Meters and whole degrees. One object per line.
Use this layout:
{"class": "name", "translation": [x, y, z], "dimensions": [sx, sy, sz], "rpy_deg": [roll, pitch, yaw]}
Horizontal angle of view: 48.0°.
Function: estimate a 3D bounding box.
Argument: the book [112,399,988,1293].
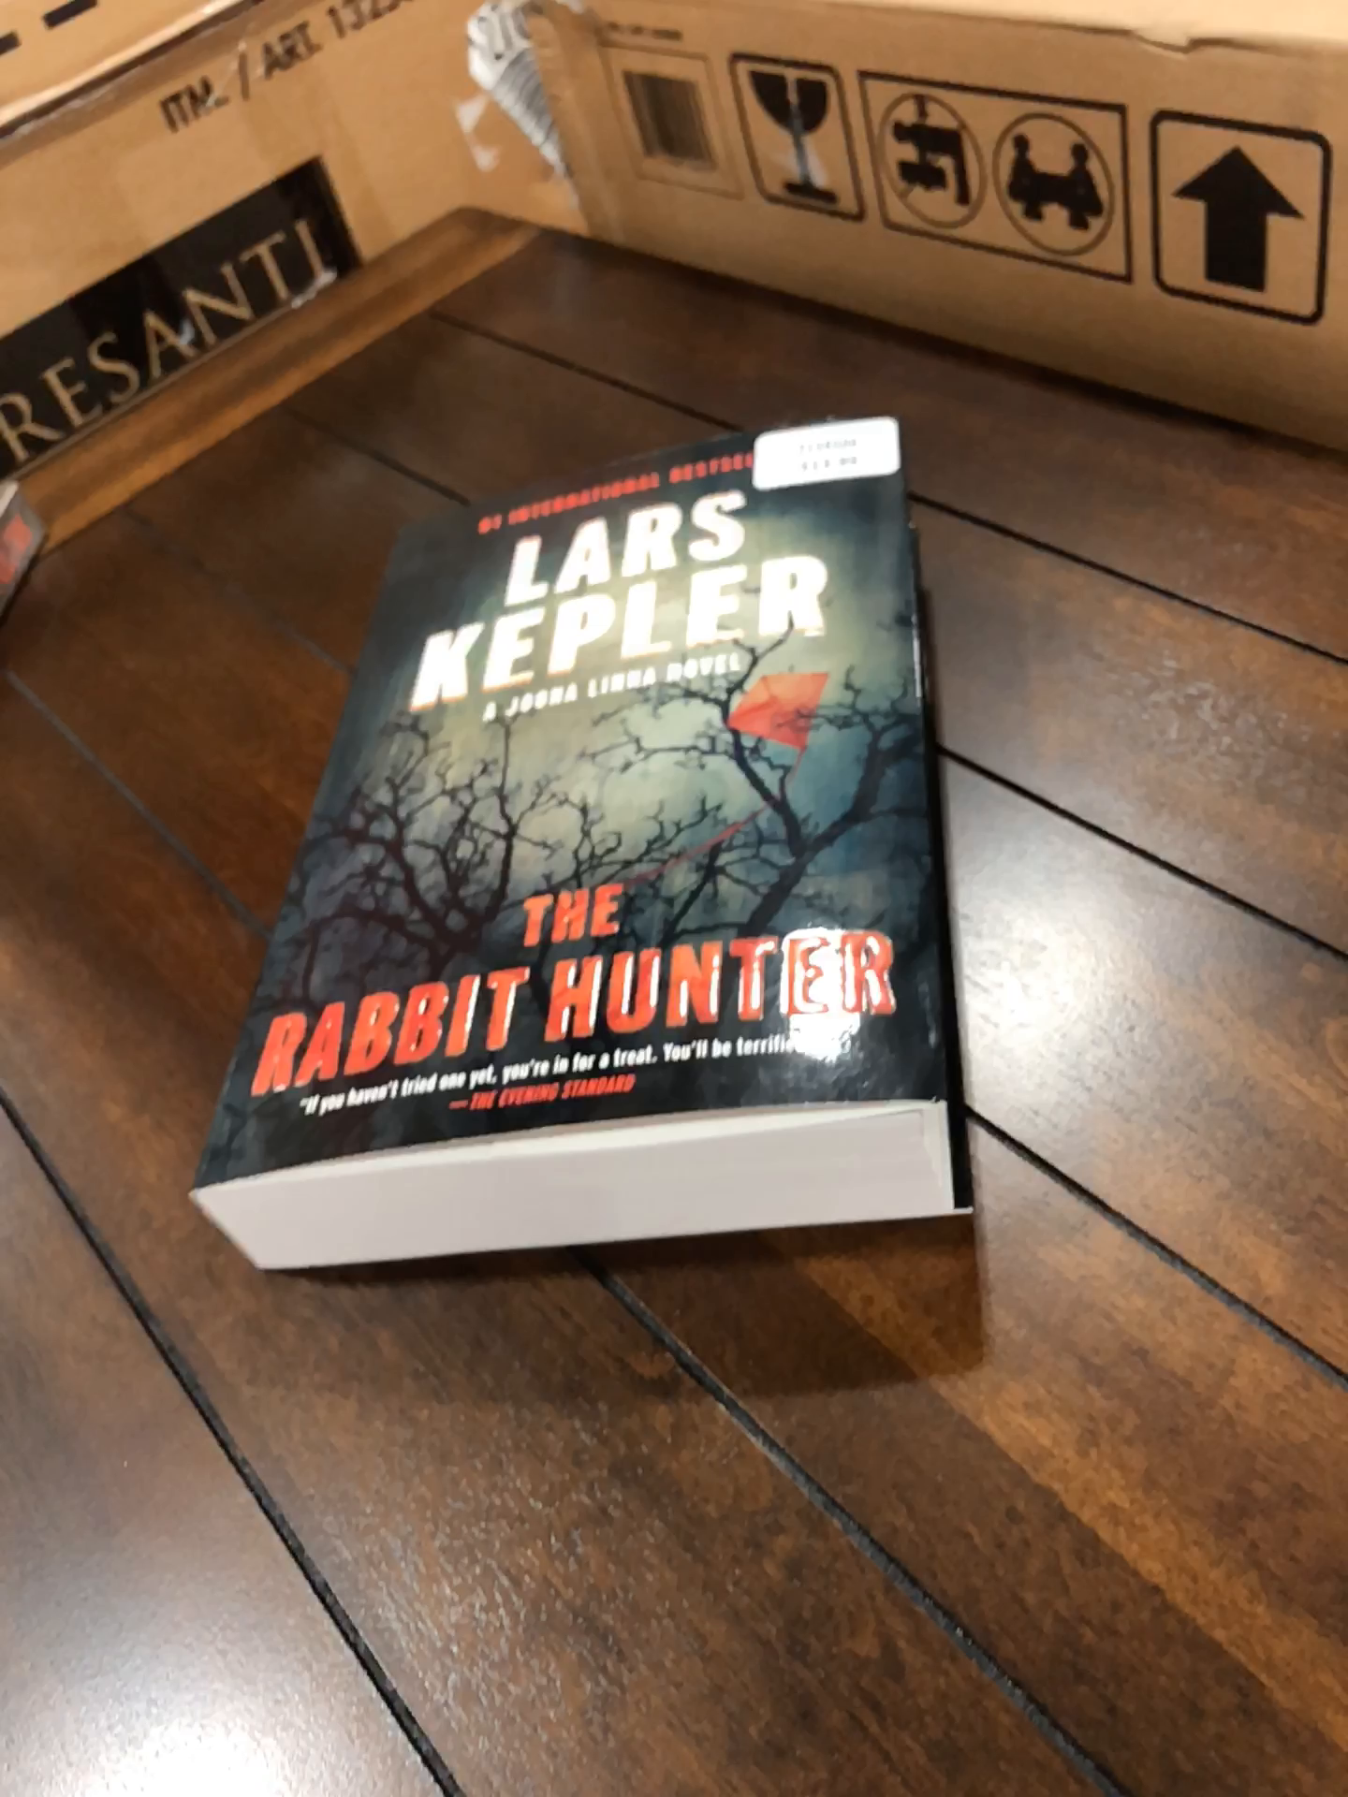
{"class": "book", "translation": [-0.017, -0.024, 0.359], "dimensions": [0.159, 0.046, 0.222], "rpy_deg": [-8, 47, 13]}
